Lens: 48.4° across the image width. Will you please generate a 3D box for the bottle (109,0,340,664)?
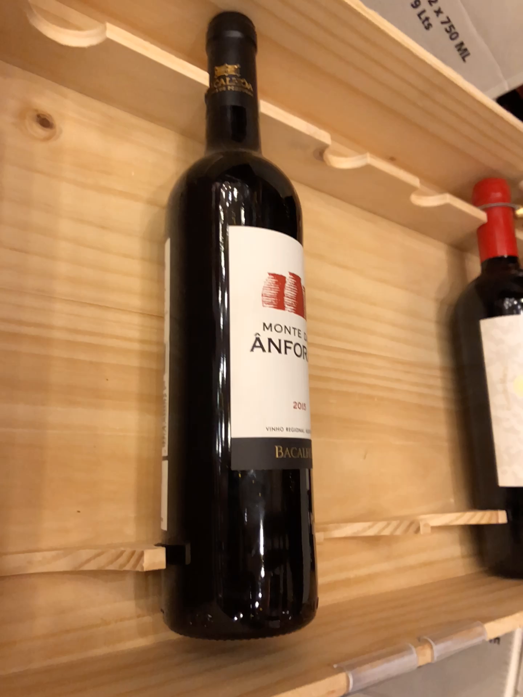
[{"bbox_3d":[-0.018,-0.038,0.283,0.081,0.060,0.320,8,76,-40],"label":"bottle"}]
